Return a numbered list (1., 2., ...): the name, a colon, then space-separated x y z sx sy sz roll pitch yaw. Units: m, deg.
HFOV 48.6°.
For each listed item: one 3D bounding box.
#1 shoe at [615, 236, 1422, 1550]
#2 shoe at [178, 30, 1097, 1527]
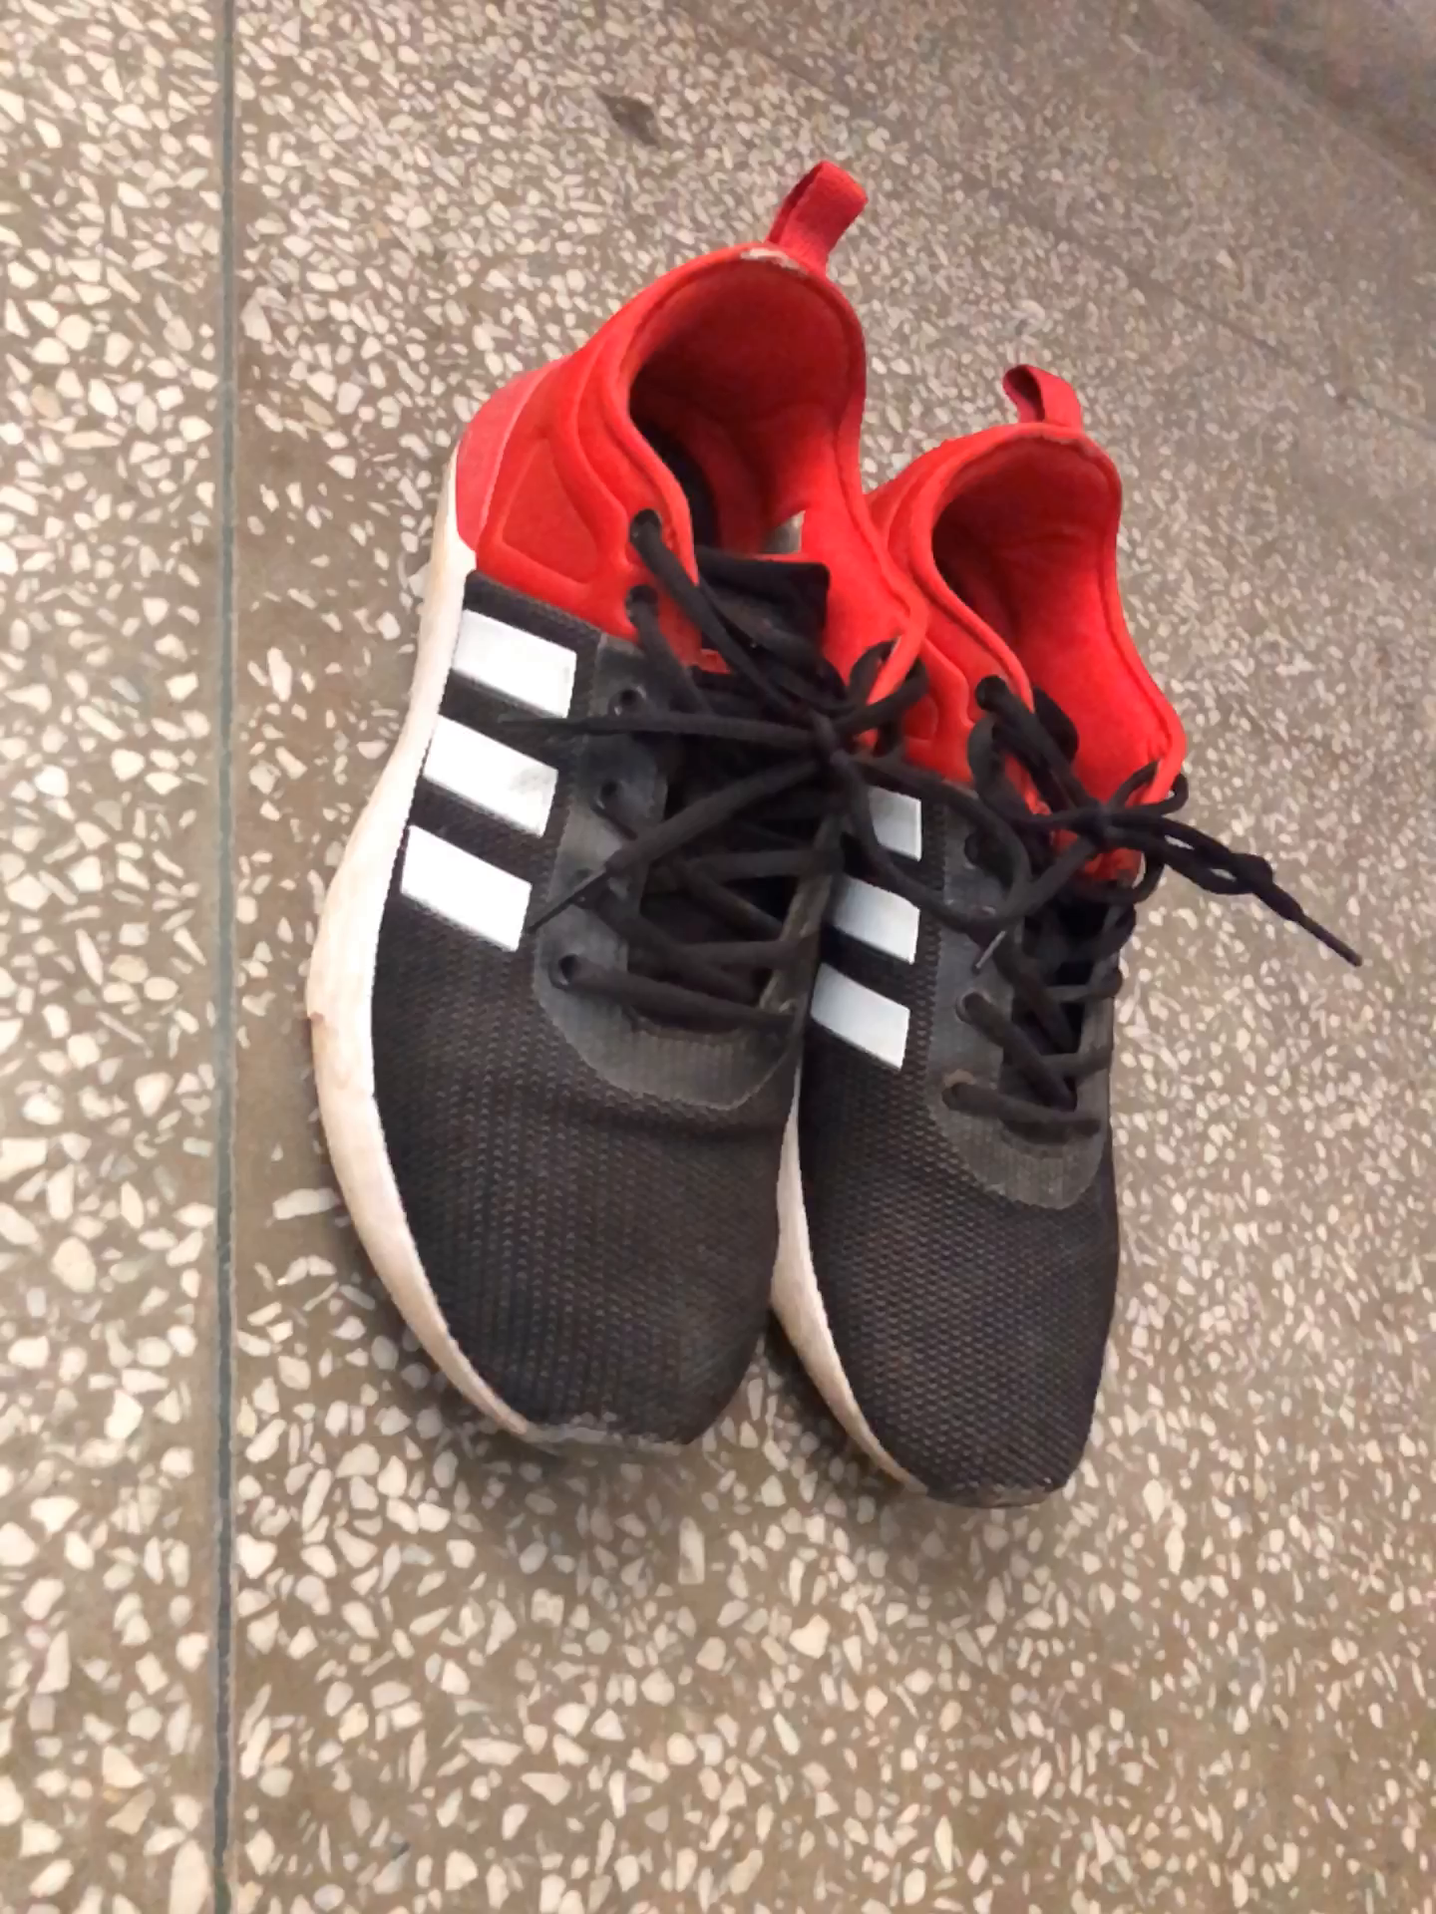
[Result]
1. shoe: 0.064 -0.011 0.449 0.130 0.139 0.320 16 60 -32
2. shoe: -0.022 -0.036 0.388 0.130 0.139 0.310 17 59 -31
